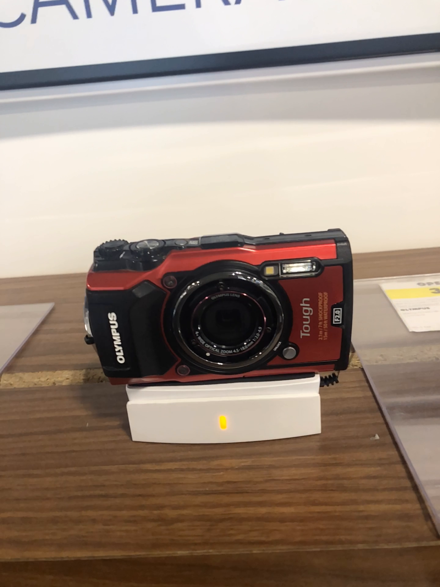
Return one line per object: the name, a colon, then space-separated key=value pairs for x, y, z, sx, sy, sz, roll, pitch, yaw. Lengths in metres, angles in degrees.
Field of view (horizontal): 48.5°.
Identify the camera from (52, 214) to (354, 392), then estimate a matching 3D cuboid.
camera: x=-0.005 y=0.005 z=0.214 sx=0.117 sy=0.064 sz=0.030 roll=-3 pitch=23 yaw=4
